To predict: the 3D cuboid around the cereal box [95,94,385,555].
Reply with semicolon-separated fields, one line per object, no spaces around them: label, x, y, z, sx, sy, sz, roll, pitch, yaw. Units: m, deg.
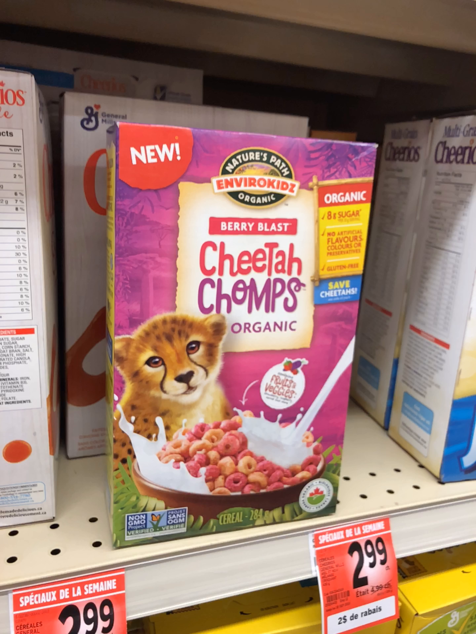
cereal box;-0.008;0.007;0.344;0.160;0.259;0.070;-1;13;-18
